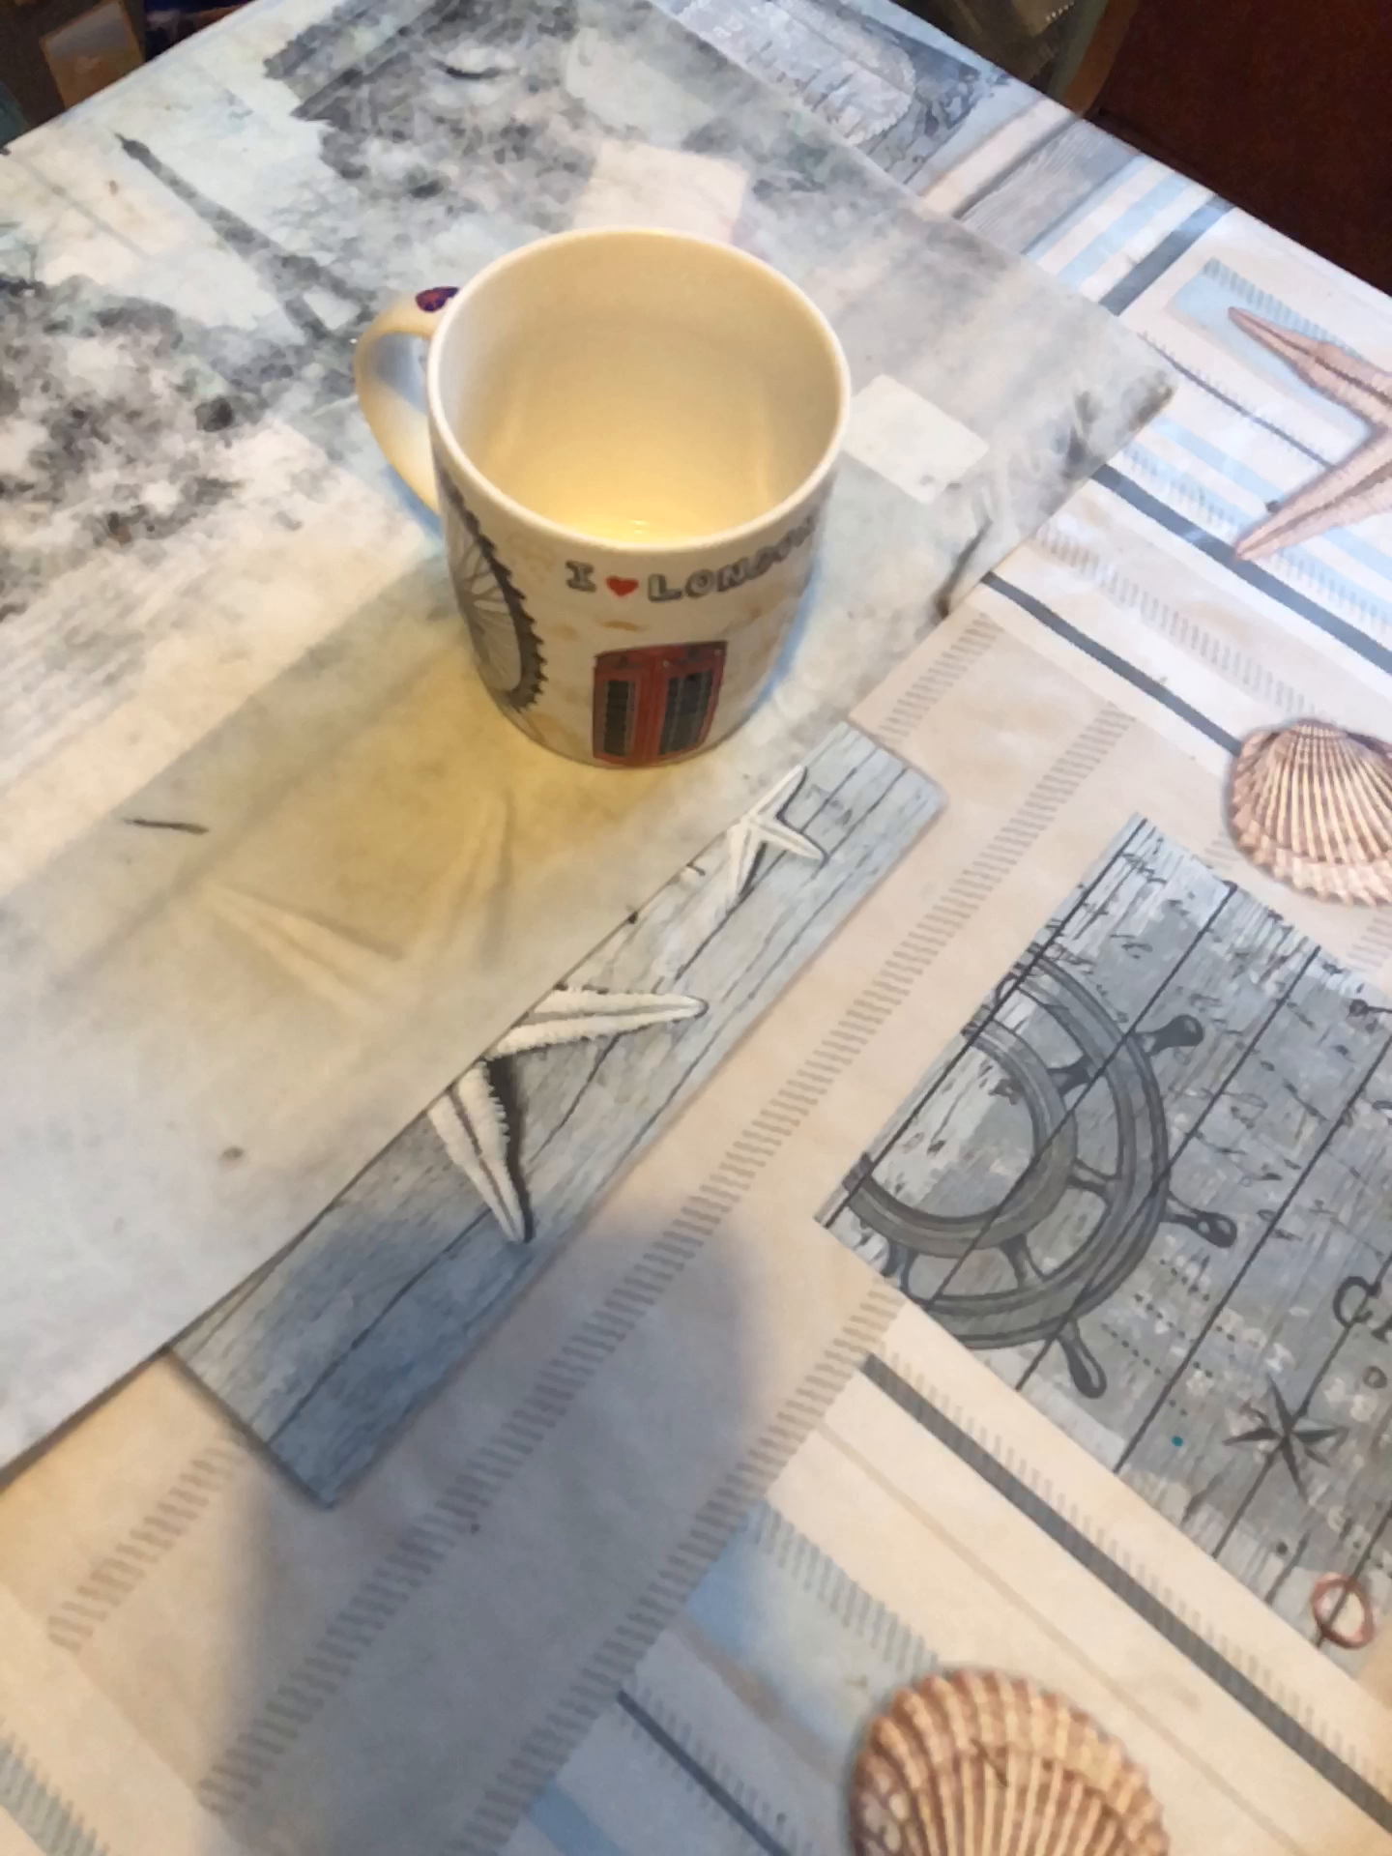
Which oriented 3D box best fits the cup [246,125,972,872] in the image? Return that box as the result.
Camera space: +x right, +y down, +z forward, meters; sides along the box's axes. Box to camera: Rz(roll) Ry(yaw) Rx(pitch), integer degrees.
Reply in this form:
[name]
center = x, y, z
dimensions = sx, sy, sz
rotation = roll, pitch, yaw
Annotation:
[cup]
center = -0.021, -0.096, 0.345
dimensions = 0.121, 0.086, 0.084
rotation = 35, 62, 11
